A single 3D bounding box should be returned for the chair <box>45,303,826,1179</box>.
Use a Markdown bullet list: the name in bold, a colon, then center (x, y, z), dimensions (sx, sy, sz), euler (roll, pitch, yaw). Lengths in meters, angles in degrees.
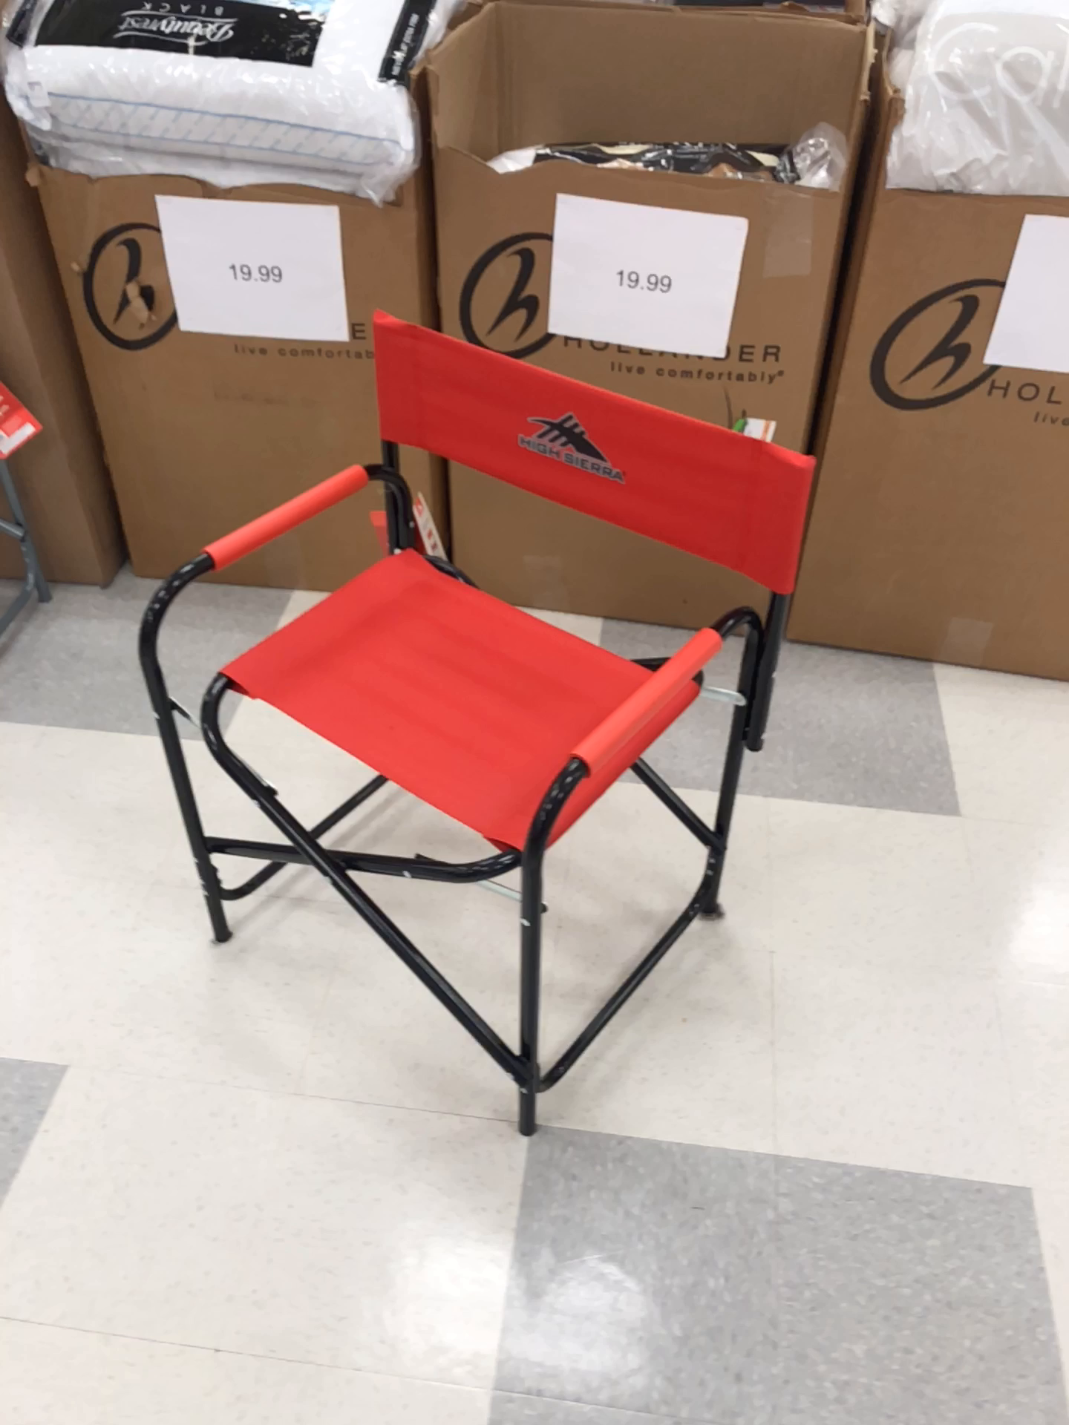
- **chair**: center (-0.092, 0.022, 1.402), dimensions (0.593, 0.729, 0.491), euler (26, 48, 26)
